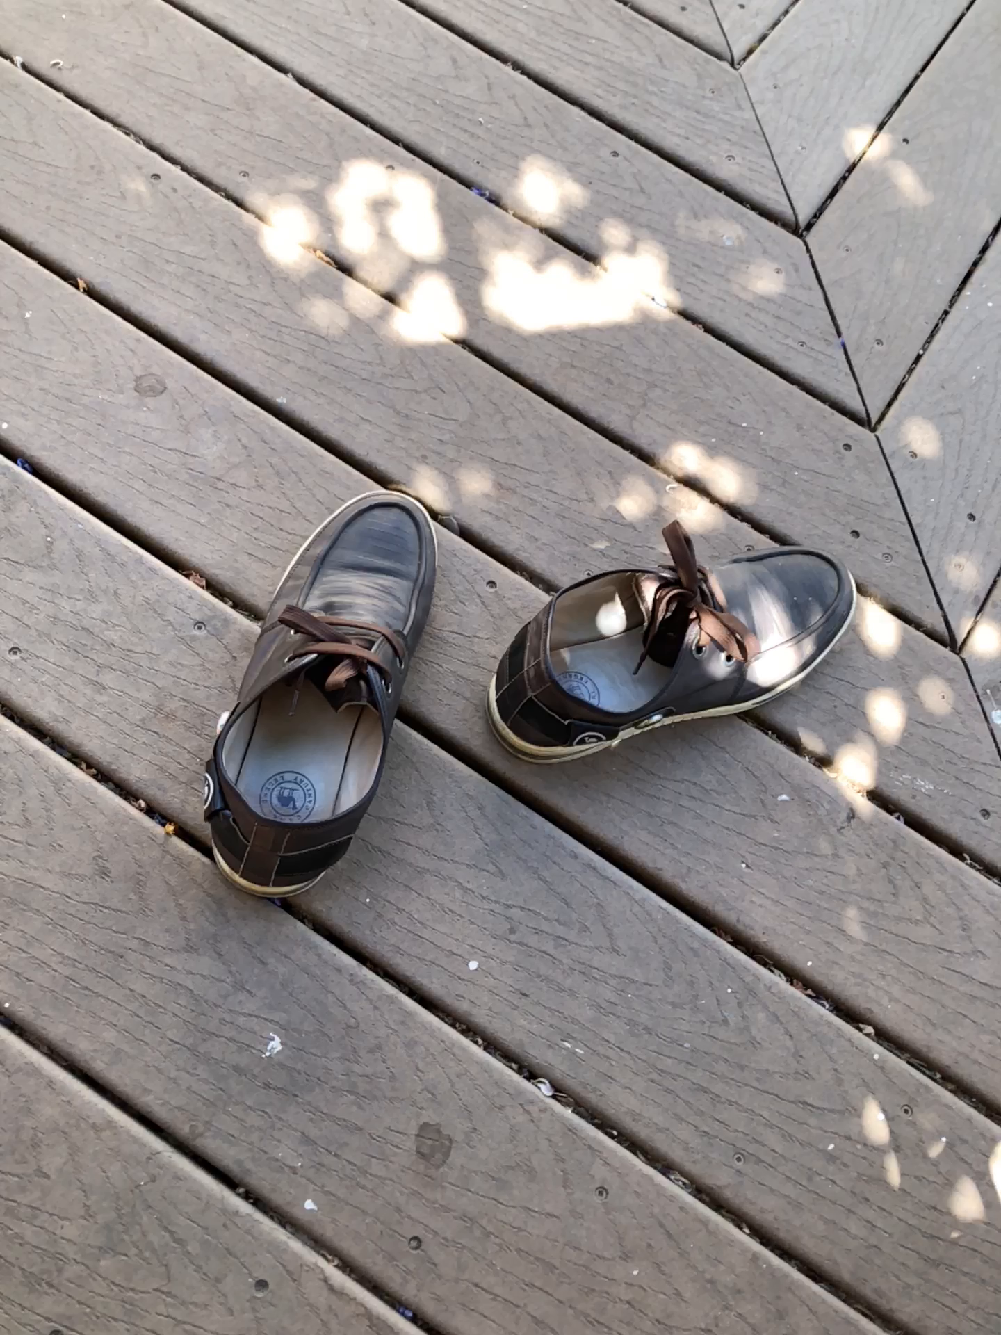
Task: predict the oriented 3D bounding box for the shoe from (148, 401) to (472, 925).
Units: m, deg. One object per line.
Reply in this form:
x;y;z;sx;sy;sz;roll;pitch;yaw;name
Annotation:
-0.114;-0.004;0.715;0.108;0.121;0.301;16;66;-3;shoe

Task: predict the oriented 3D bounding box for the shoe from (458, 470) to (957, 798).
0.137;-0.024;0.765;0.303;0.121;0.108;-18;72;-16;shoe
